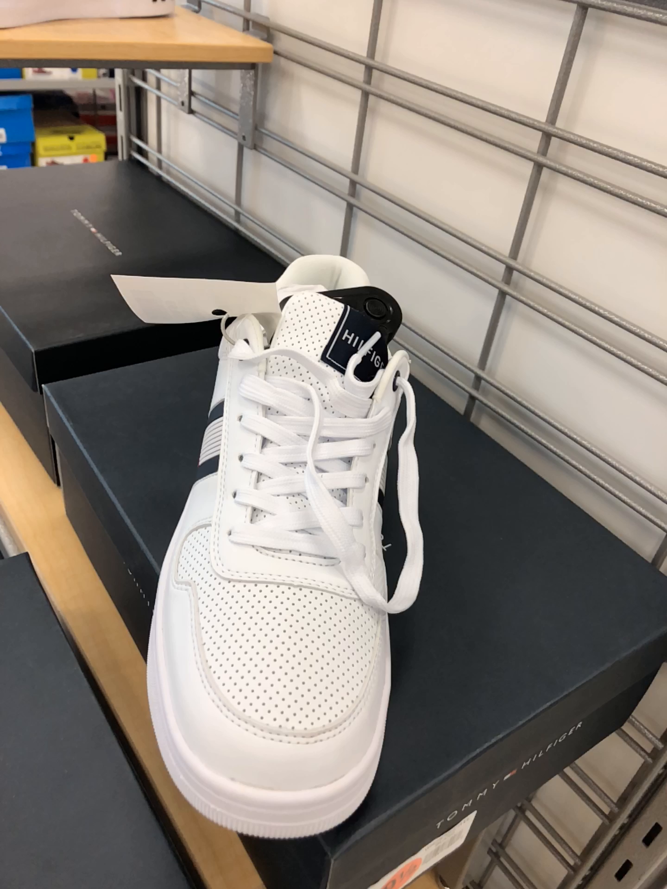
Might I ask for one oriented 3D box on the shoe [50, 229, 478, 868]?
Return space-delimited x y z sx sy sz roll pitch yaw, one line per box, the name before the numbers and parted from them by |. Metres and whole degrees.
shoe | -0.021 0.013 0.335 0.110 0.109 0.282 7 36 -3
